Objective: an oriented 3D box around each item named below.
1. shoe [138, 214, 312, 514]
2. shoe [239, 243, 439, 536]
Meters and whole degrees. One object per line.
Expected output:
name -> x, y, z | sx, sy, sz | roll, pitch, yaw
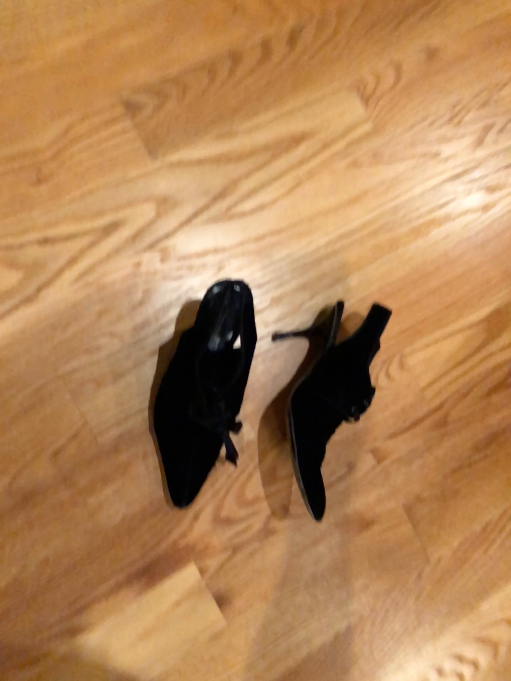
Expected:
shoe -> -0.035, 0.025, 0.561 | 0.107, 0.117, 0.252 | 11, 83, -14
shoe -> 0.082, 0.049, 0.582 | 0.118, 0.107, 0.252 | 17, 82, -12
